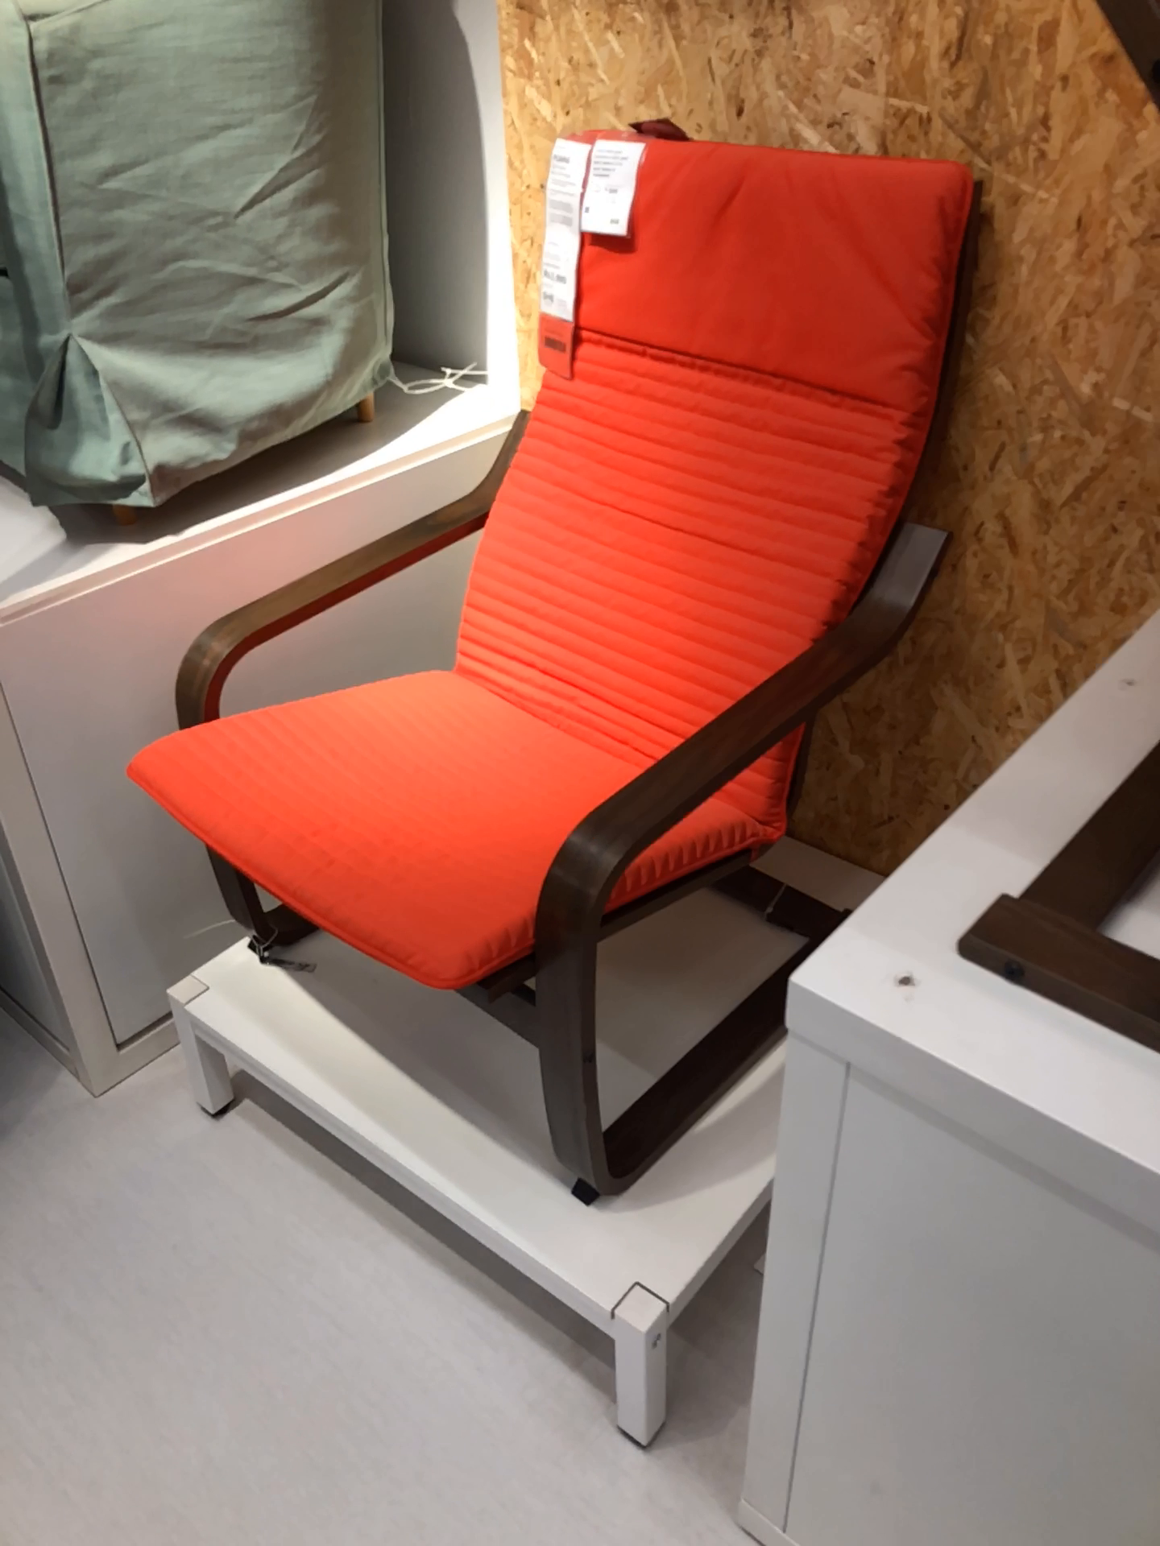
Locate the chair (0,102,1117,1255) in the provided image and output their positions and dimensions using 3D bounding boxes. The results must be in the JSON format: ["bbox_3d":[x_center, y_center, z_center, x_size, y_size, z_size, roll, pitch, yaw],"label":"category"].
[{"bbox_3d":[-0.007,-0.202,1.452,0.753,0.894,0.793,26,43,35],"label":"chair"}]
